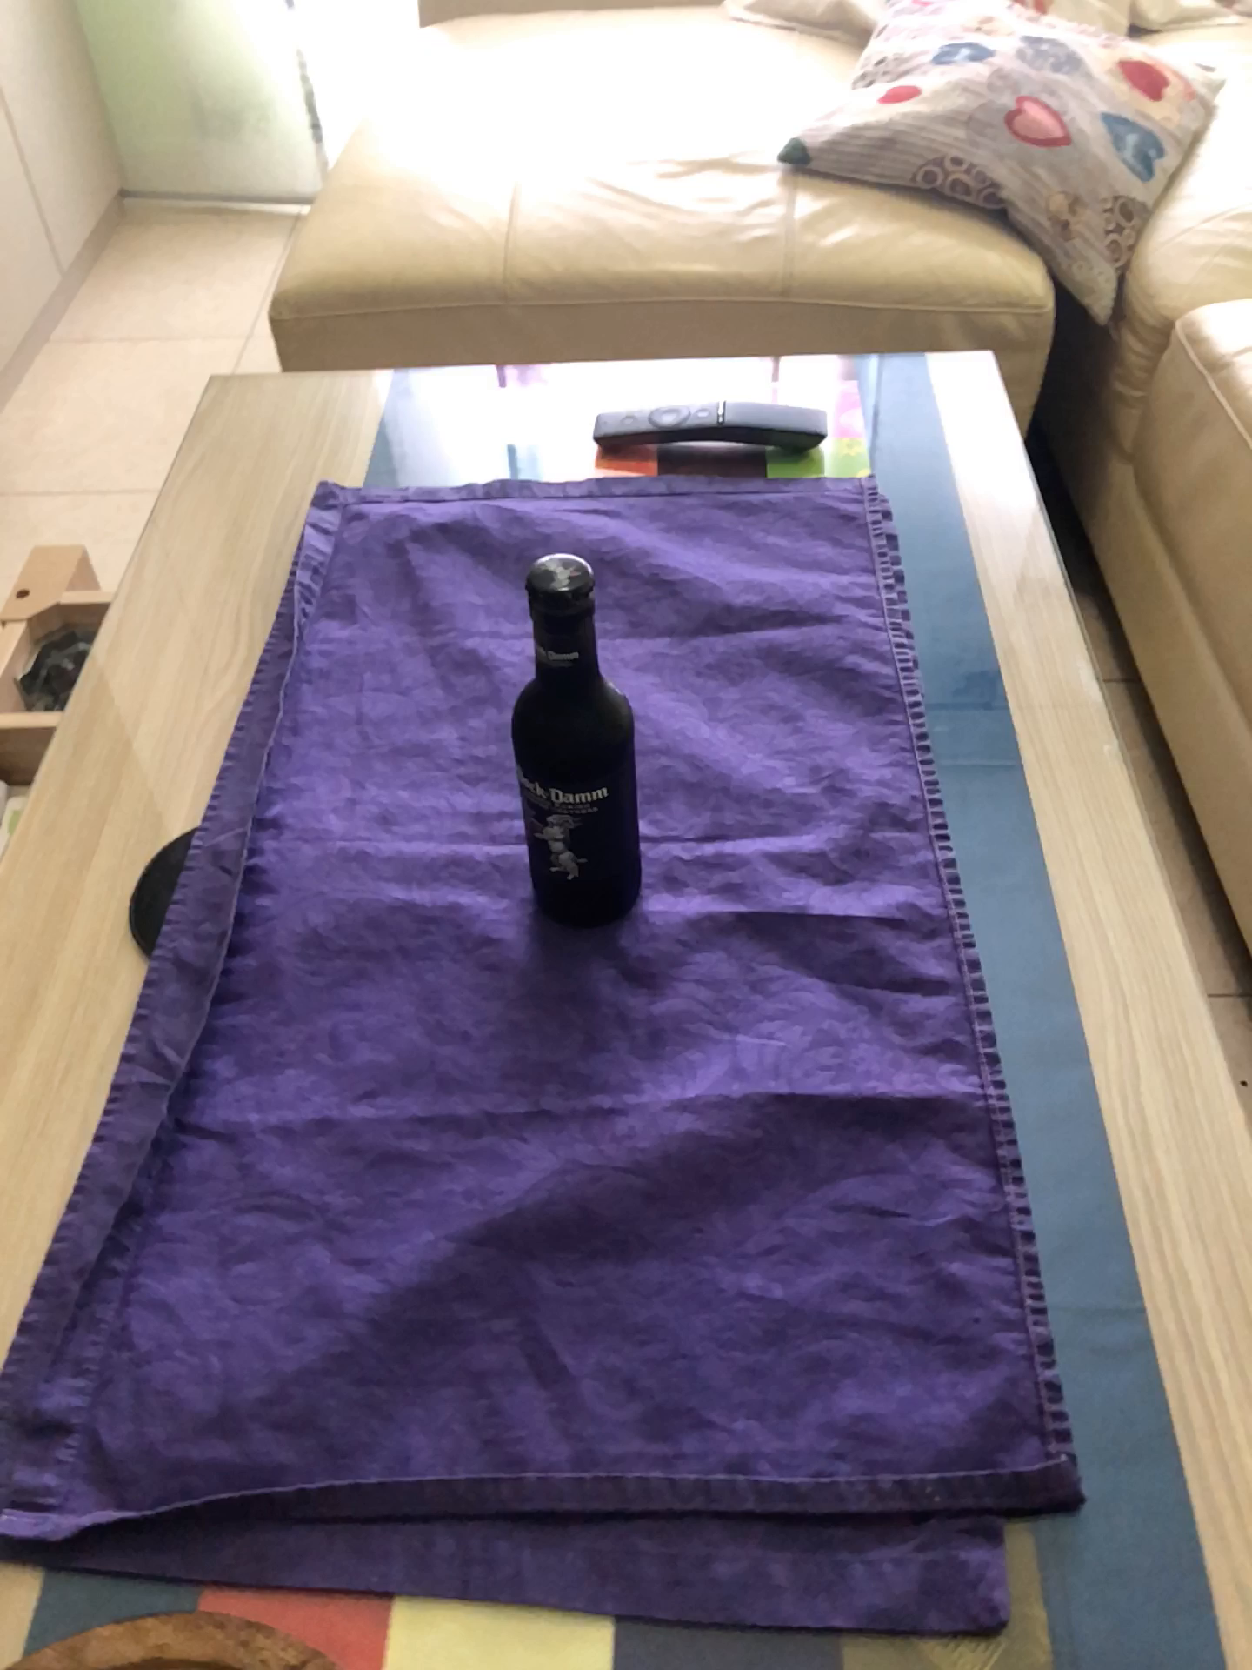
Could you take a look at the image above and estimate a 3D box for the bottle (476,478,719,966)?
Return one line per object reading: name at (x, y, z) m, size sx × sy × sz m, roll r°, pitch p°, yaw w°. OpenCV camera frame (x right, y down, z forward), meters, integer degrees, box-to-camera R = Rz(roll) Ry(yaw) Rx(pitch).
bottle at (-0.006, -0.041, 0.593) m, size 0.070 × 0.199 × 0.070 m, roll -1°, pitch 46°, yaw 2°
